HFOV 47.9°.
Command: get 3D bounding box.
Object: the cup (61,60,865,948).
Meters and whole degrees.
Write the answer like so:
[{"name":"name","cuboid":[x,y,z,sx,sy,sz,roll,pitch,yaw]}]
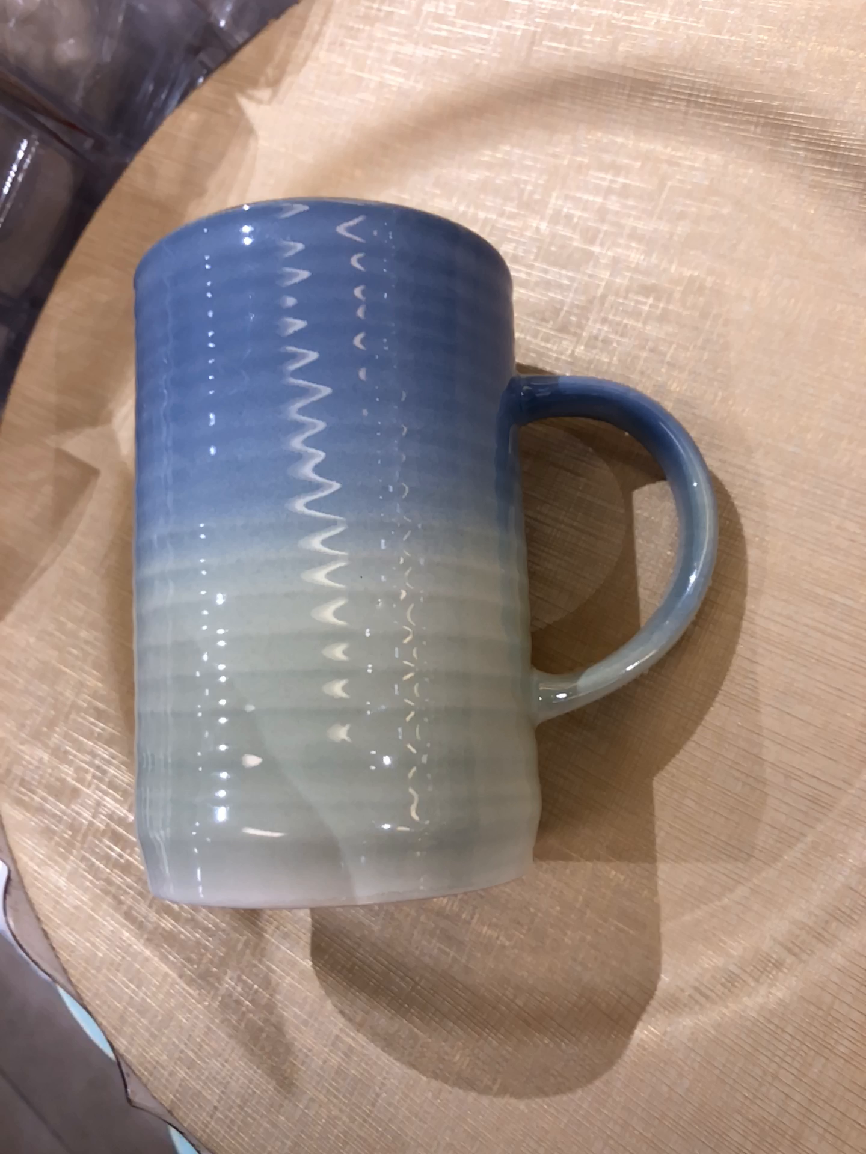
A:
[{"name":"cup","cuboid":[0.006,-0.009,0.183,0.120,0.060,0.140,-3,76,7]}]
